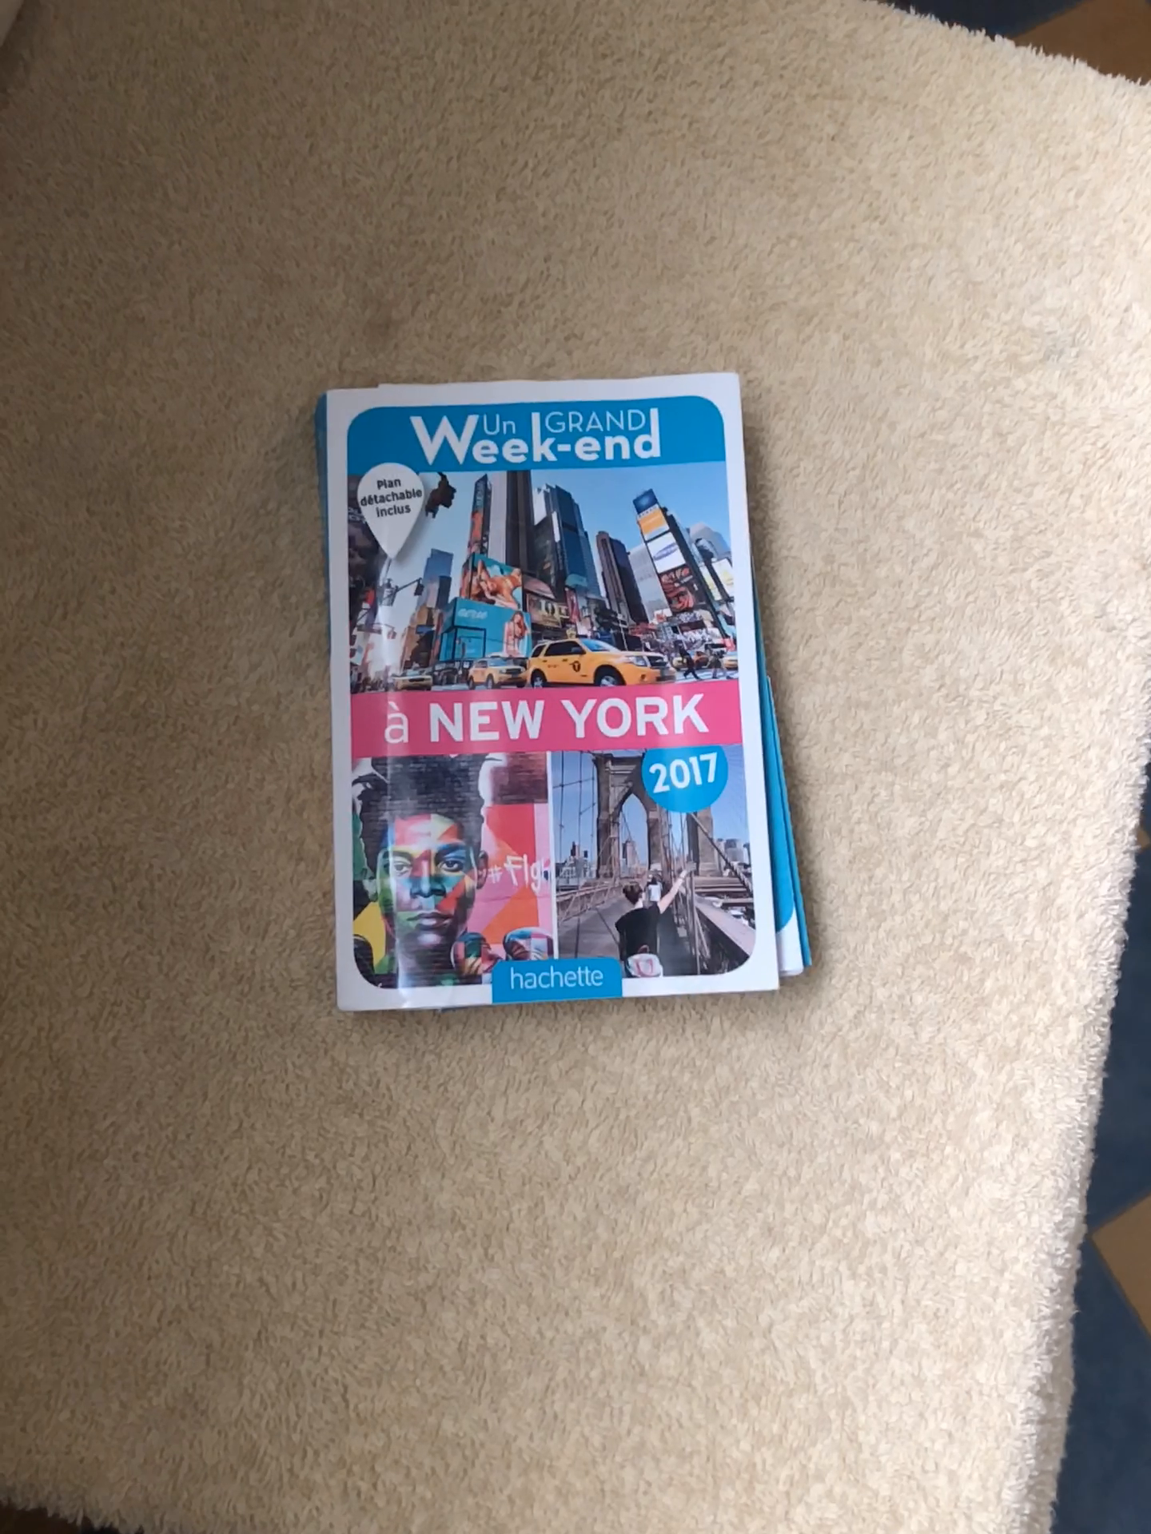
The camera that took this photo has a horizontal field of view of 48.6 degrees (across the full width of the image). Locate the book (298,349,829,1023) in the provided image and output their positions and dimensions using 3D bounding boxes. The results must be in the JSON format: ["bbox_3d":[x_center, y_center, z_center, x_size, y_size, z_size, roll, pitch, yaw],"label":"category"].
[{"bbox_3d":[-0.005,-0.021,0.318,0.120,0.020,0.160,-3,81,1],"label":"book"}]
